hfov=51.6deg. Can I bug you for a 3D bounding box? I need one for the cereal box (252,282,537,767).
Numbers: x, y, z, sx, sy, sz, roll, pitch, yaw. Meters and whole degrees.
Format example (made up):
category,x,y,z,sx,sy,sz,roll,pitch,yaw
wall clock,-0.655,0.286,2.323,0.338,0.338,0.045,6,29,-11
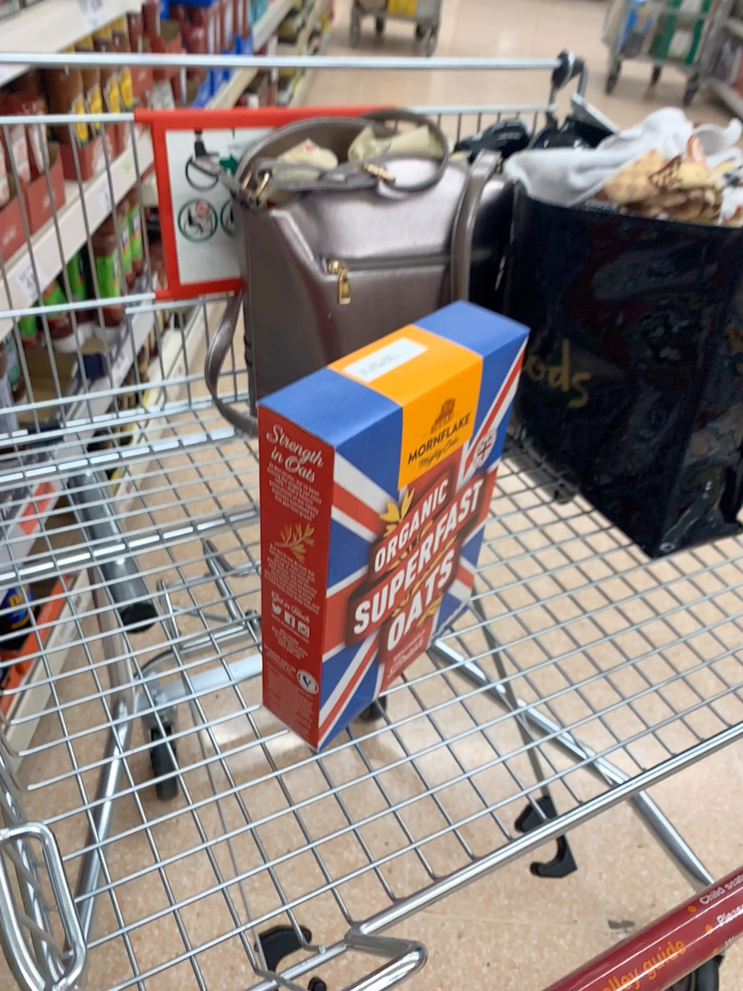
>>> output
category,x,y,z,sx,sy,sz,roll,pitch,yaw
cereal box,0.011,0.021,0.483,0.050,0.258,0.181,29,44,27
